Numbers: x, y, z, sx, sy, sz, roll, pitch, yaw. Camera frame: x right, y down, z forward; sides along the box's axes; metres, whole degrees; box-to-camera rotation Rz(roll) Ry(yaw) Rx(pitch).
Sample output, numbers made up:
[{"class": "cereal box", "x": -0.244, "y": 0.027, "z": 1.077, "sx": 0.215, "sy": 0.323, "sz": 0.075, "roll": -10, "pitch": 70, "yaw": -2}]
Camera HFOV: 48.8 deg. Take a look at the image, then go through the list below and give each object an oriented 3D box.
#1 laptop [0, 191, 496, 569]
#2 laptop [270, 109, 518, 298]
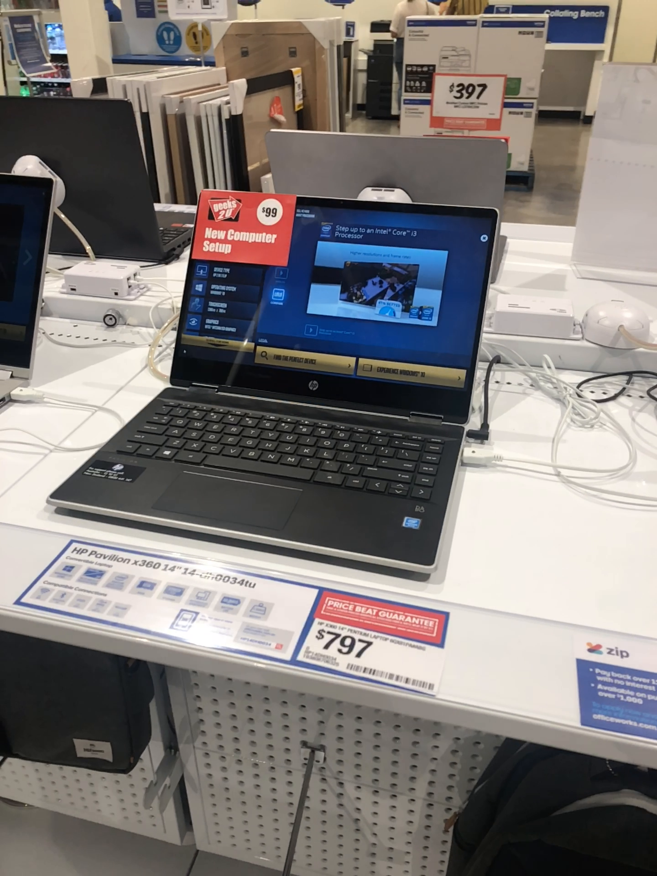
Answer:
[{"class": "laptop", "x": -0.031, "y": -0.087, "z": 0.648, "sx": 0.315, "sy": 0.169, "sz": 0.341, "roll": 8, "pitch": 32, "yaw": 13}, {"class": "laptop", "x": 0.118, "y": -0.384, "z": 1.131, "sx": 0.306, "sy": 0.199, "sz": 0.358, "roll": 8, "pitch": 31, "yaw": 14}]
